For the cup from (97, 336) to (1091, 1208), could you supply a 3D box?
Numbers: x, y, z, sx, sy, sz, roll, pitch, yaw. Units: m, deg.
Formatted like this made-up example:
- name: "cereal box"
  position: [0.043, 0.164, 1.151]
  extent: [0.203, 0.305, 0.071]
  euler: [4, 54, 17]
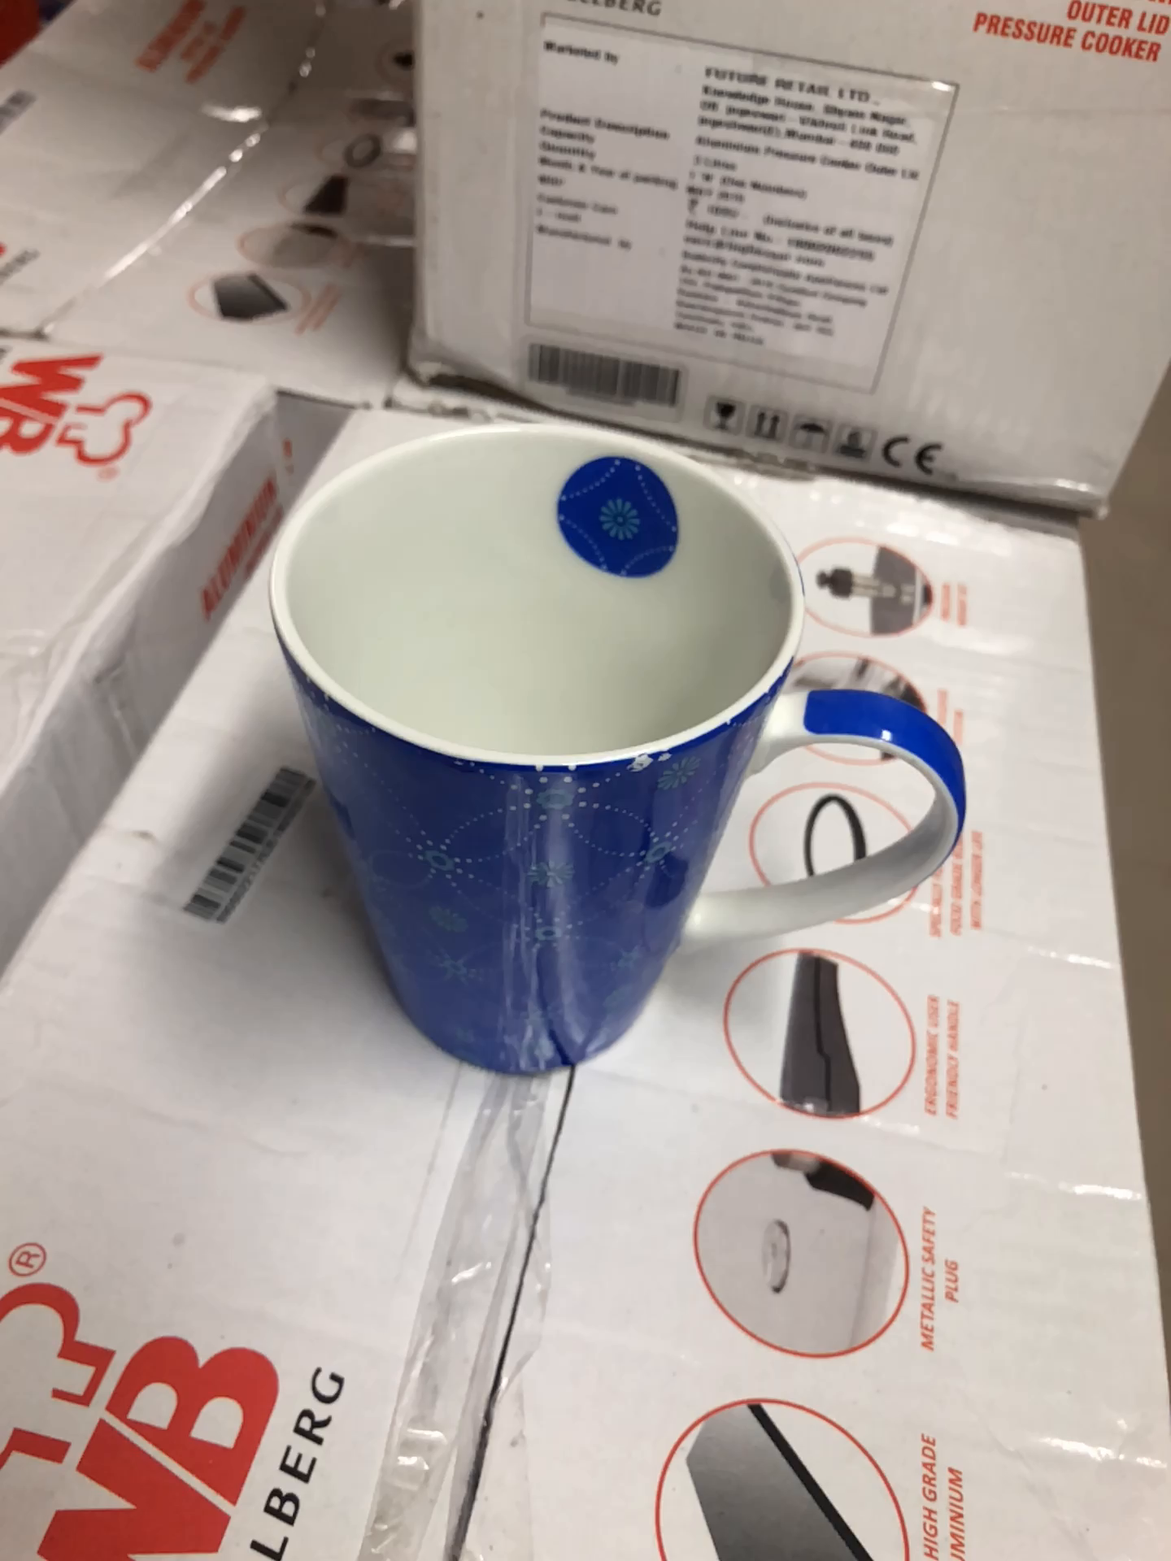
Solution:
- name: "cup"
  position: [0.002, 0.000, 0.216]
  extent: [0.120, 0.089, 0.080]
  euler: [12, 47, 2]
